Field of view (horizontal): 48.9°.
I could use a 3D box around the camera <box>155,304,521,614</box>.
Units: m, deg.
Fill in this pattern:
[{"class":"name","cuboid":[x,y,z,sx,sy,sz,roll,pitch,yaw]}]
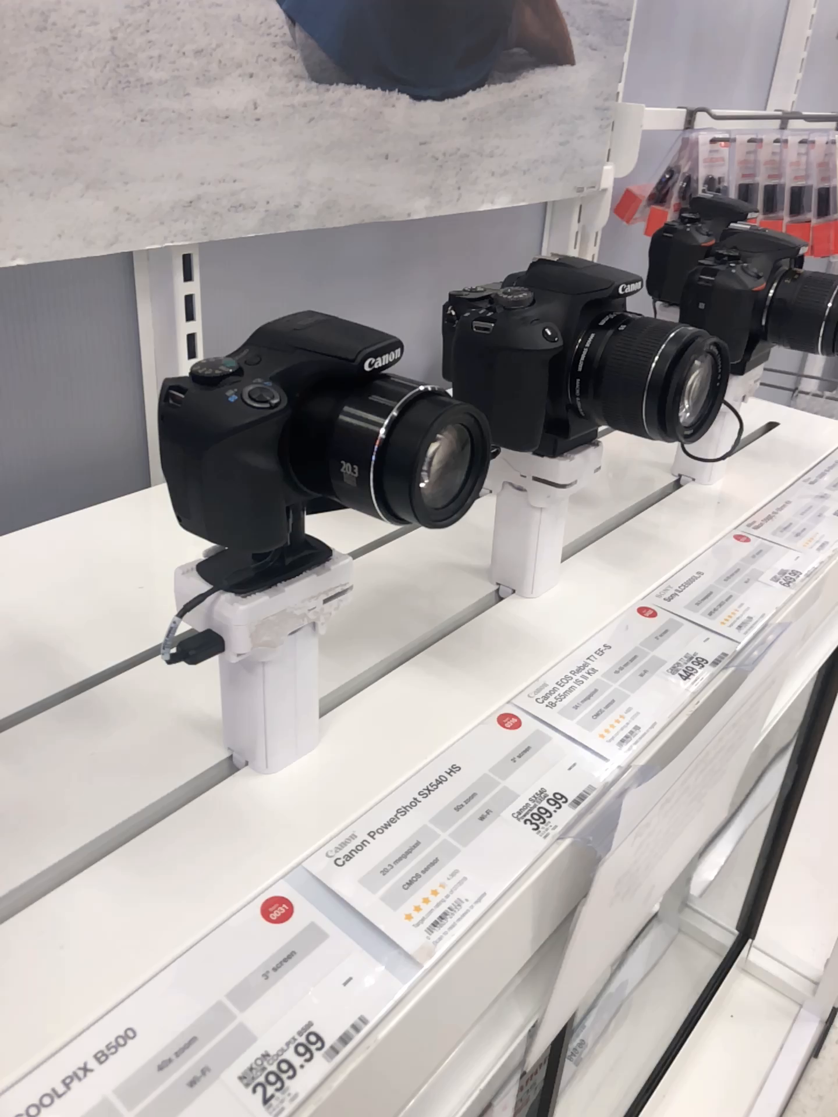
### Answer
[{"class":"camera","cuboid":[-0.031,-0.047,0.371,0.099,0.076,0.100,21,33,30]}]
